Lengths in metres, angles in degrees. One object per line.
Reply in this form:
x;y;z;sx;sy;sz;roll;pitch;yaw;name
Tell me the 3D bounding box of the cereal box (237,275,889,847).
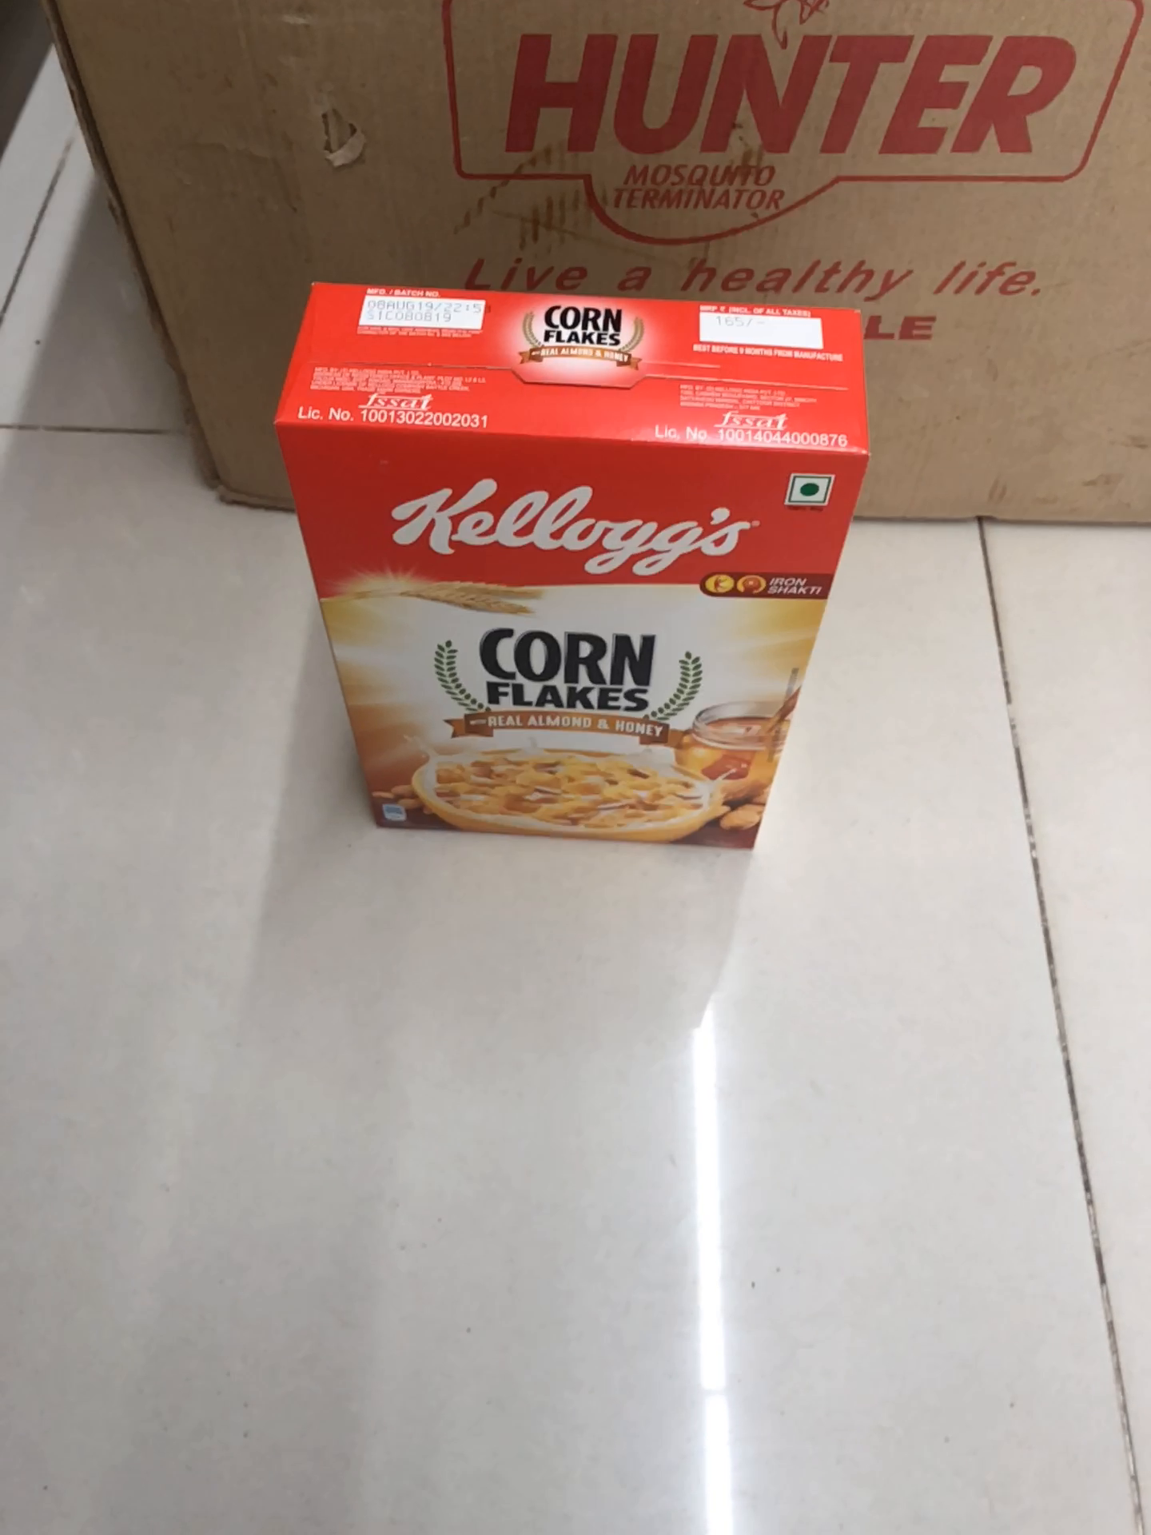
-0.004;-0.064;0.521;0.200;0.260;0.070;3;59;1;cereal box
